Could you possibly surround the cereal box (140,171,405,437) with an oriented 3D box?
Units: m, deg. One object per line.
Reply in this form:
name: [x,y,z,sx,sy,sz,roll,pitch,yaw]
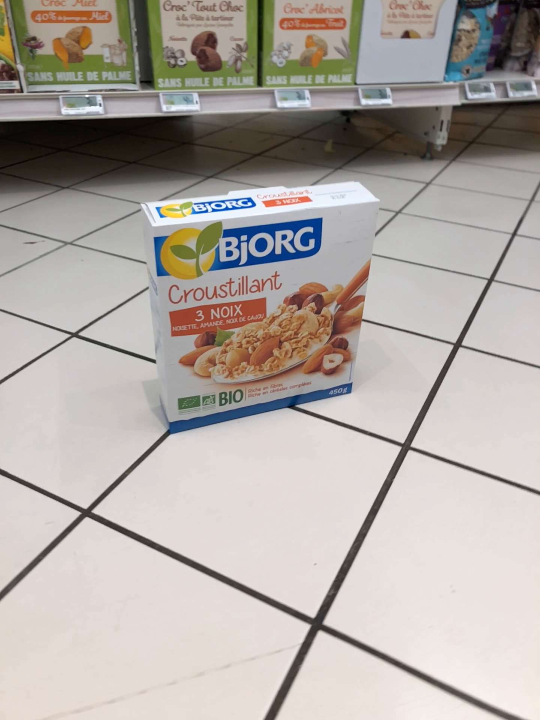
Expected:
cereal box: [0.001,-0.049,0.555,0.210,0.219,0.060,-10,38,-15]
